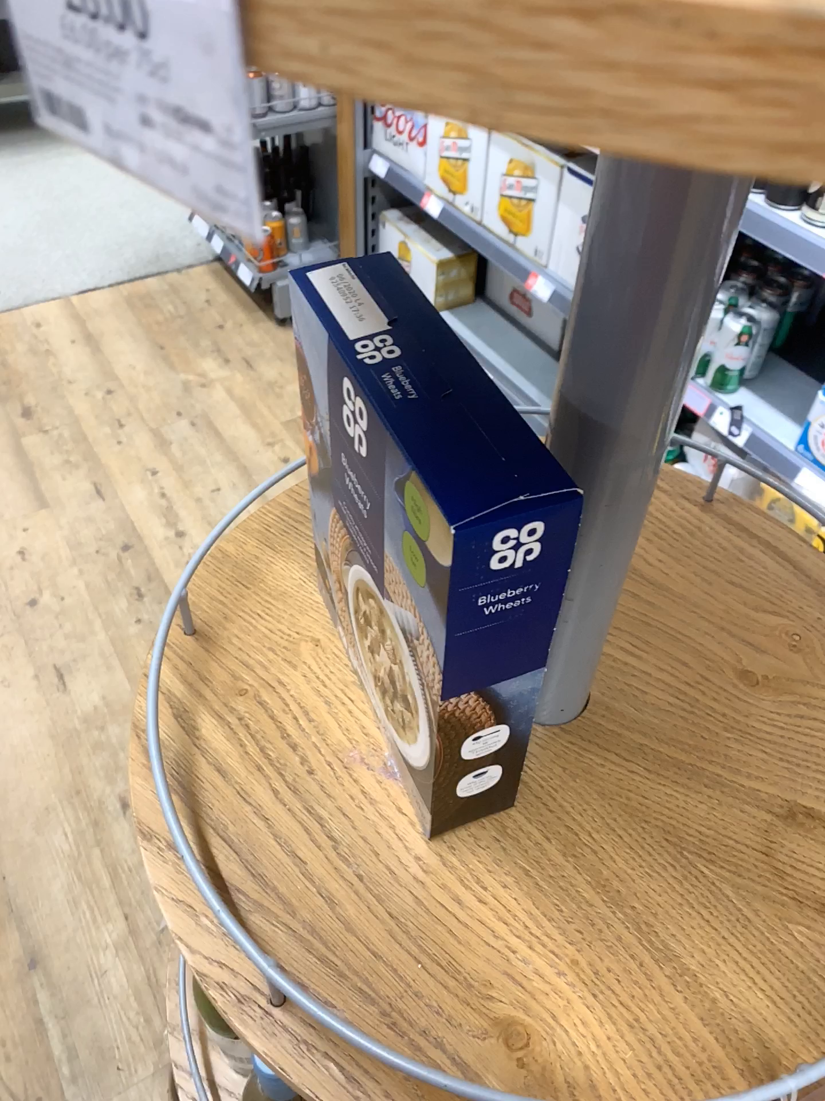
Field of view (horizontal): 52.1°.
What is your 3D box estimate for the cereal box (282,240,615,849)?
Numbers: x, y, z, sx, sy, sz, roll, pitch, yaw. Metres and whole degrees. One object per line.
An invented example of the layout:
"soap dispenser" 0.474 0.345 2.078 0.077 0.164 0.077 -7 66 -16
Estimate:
"cereal box" 0.000 0.000 0.430 0.060 0.228 0.202 -15 49 -17
